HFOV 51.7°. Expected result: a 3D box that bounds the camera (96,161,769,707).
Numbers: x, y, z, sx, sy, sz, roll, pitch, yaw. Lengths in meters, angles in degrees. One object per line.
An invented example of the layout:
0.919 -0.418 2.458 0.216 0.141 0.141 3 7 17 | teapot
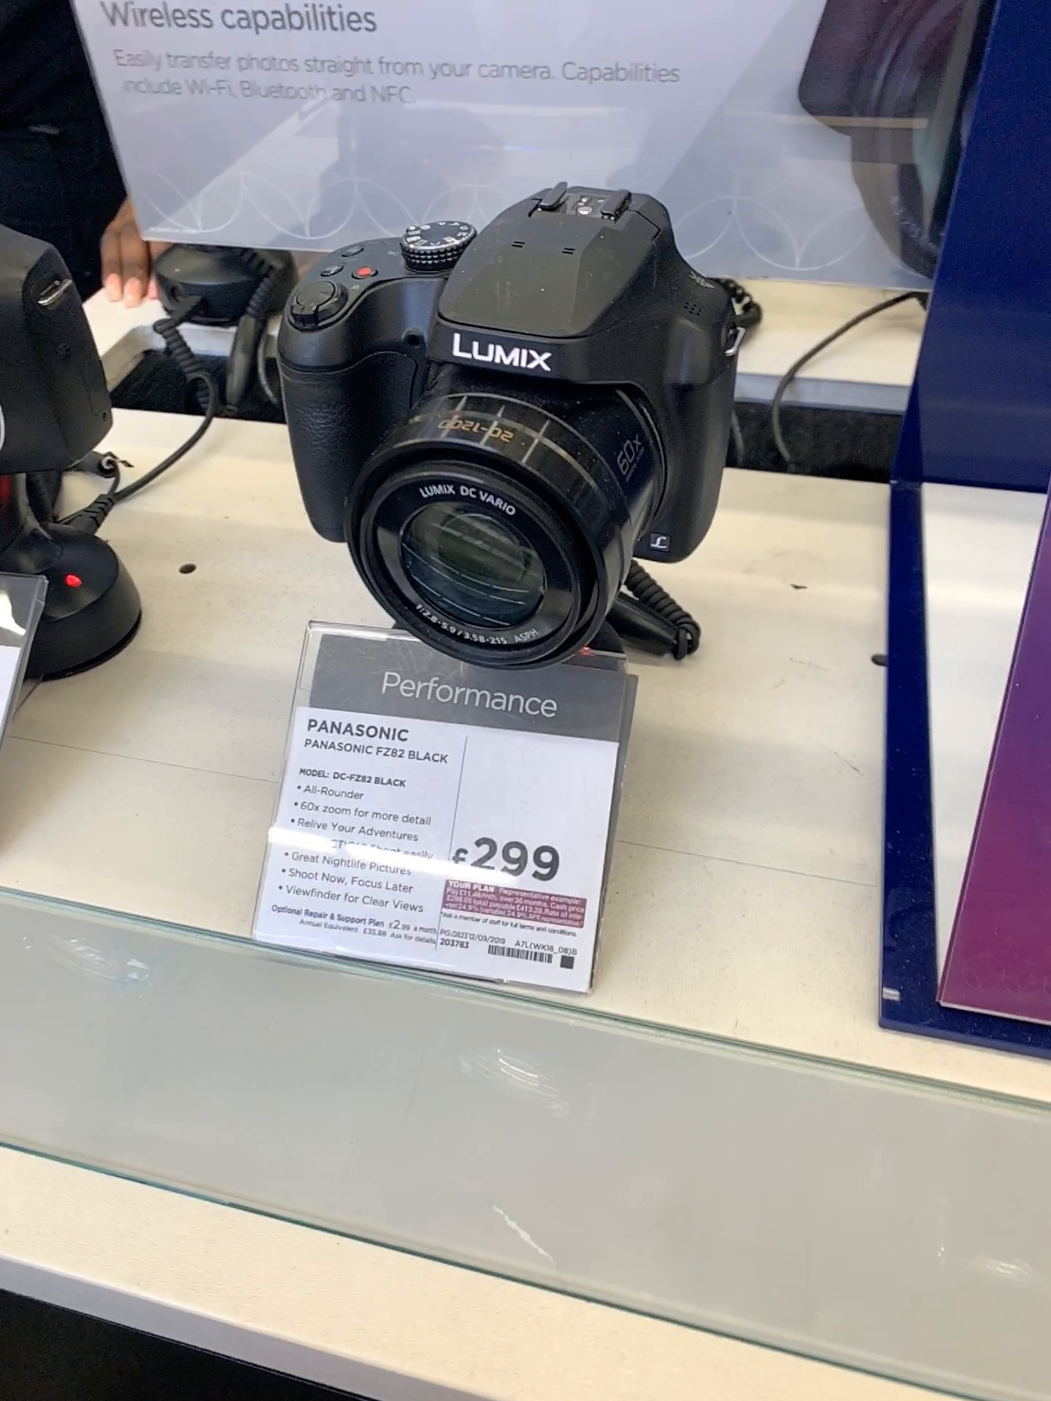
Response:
-0.013 -0.080 0.292 0.130 0.079 0.121 11 45 14 | camera
